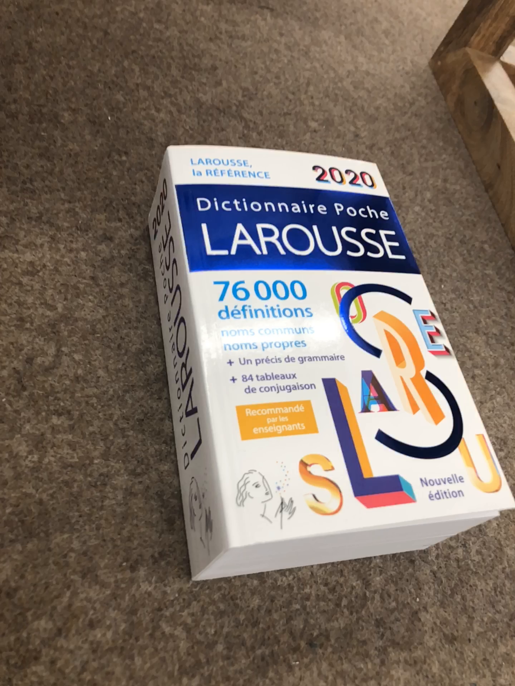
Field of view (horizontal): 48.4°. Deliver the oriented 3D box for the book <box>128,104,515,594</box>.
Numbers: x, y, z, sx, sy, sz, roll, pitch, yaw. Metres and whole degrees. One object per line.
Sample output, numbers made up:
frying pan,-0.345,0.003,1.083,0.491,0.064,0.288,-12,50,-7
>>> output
book,0.017,-0.006,0.245,0.117,0.060,0.184,2,57,-25
